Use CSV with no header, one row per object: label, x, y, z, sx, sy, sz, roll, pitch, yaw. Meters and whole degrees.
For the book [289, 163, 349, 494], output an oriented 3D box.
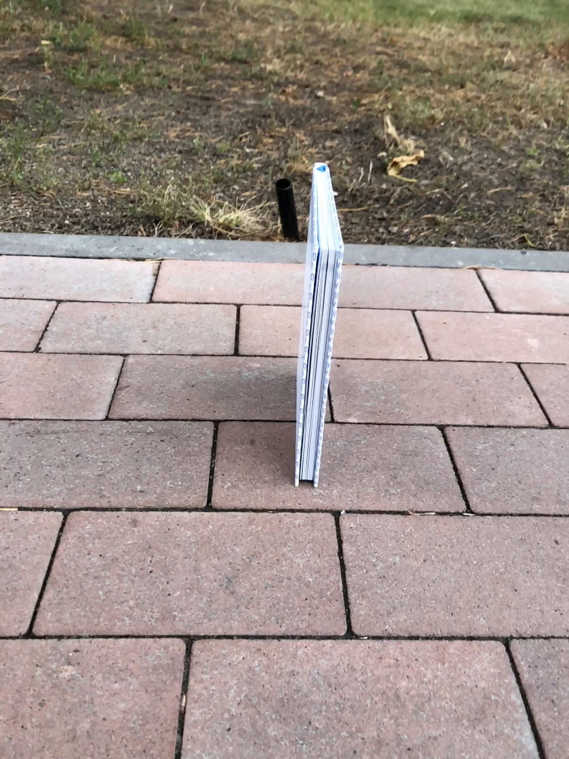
book,0.021,-0.039,0.471,0.022,0.196,0.152,3,36,-1
